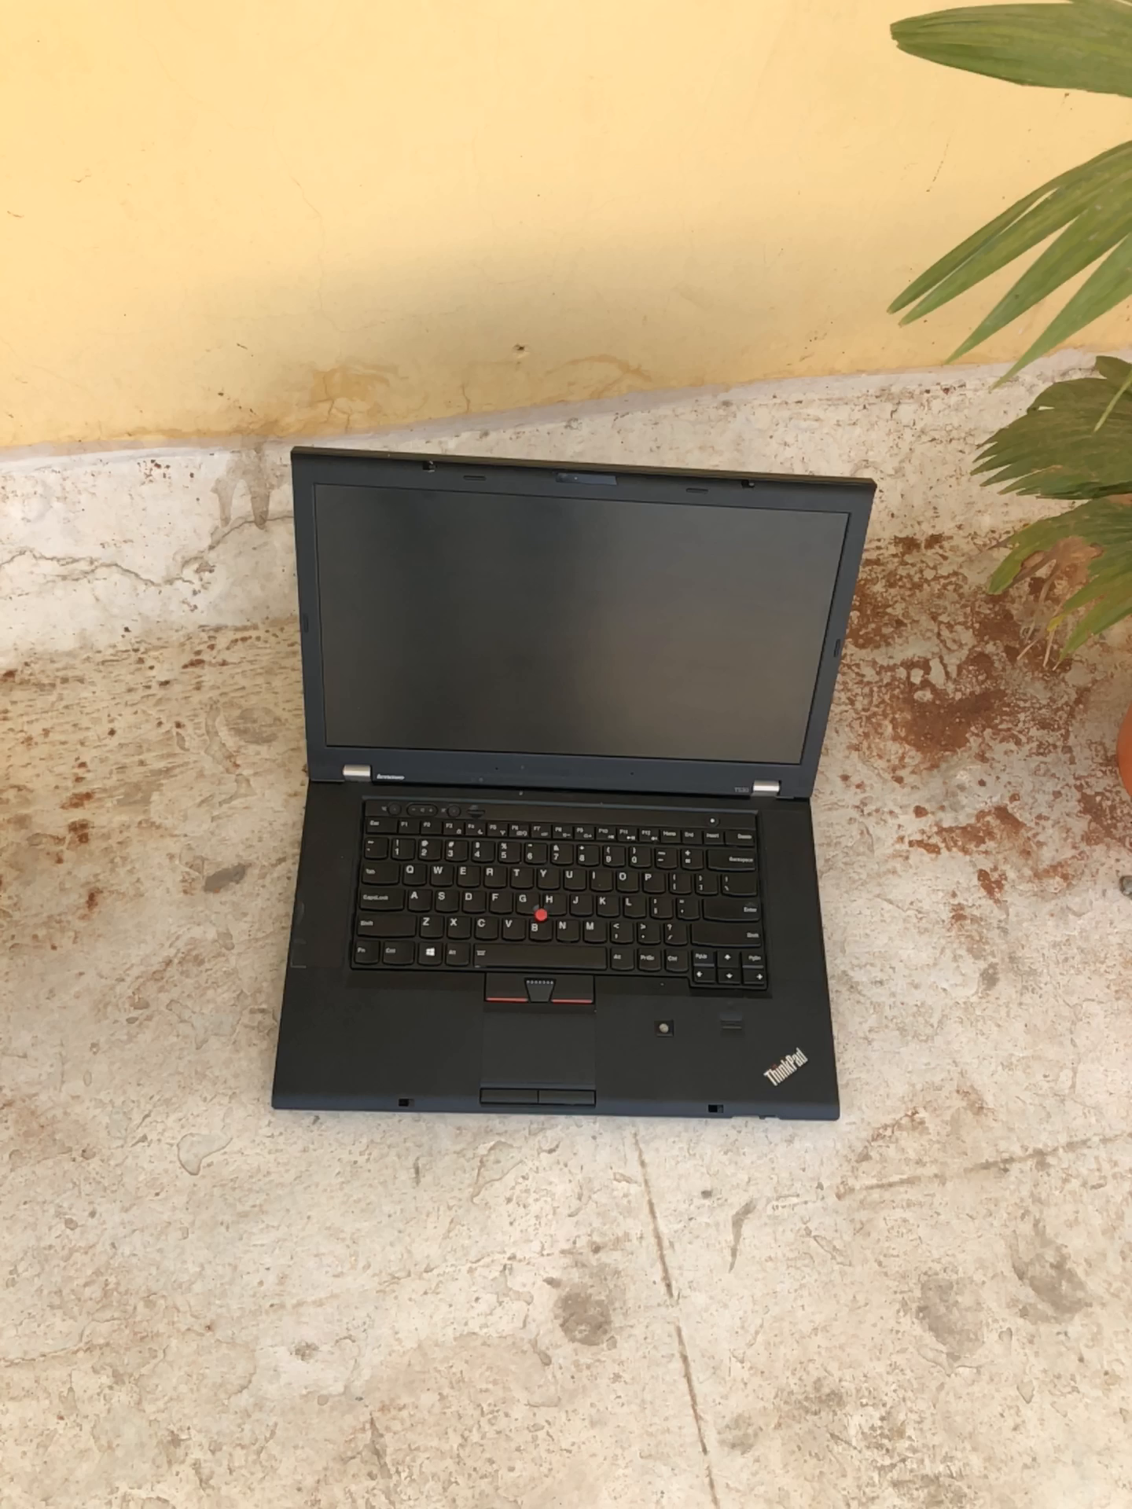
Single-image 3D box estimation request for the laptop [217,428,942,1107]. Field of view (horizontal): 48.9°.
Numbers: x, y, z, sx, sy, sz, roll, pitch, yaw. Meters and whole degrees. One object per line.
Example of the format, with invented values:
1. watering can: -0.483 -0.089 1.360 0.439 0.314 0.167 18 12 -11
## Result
1. laptop: 0.007 0.015 0.785 0.360 0.208 0.353 2 63 -3
